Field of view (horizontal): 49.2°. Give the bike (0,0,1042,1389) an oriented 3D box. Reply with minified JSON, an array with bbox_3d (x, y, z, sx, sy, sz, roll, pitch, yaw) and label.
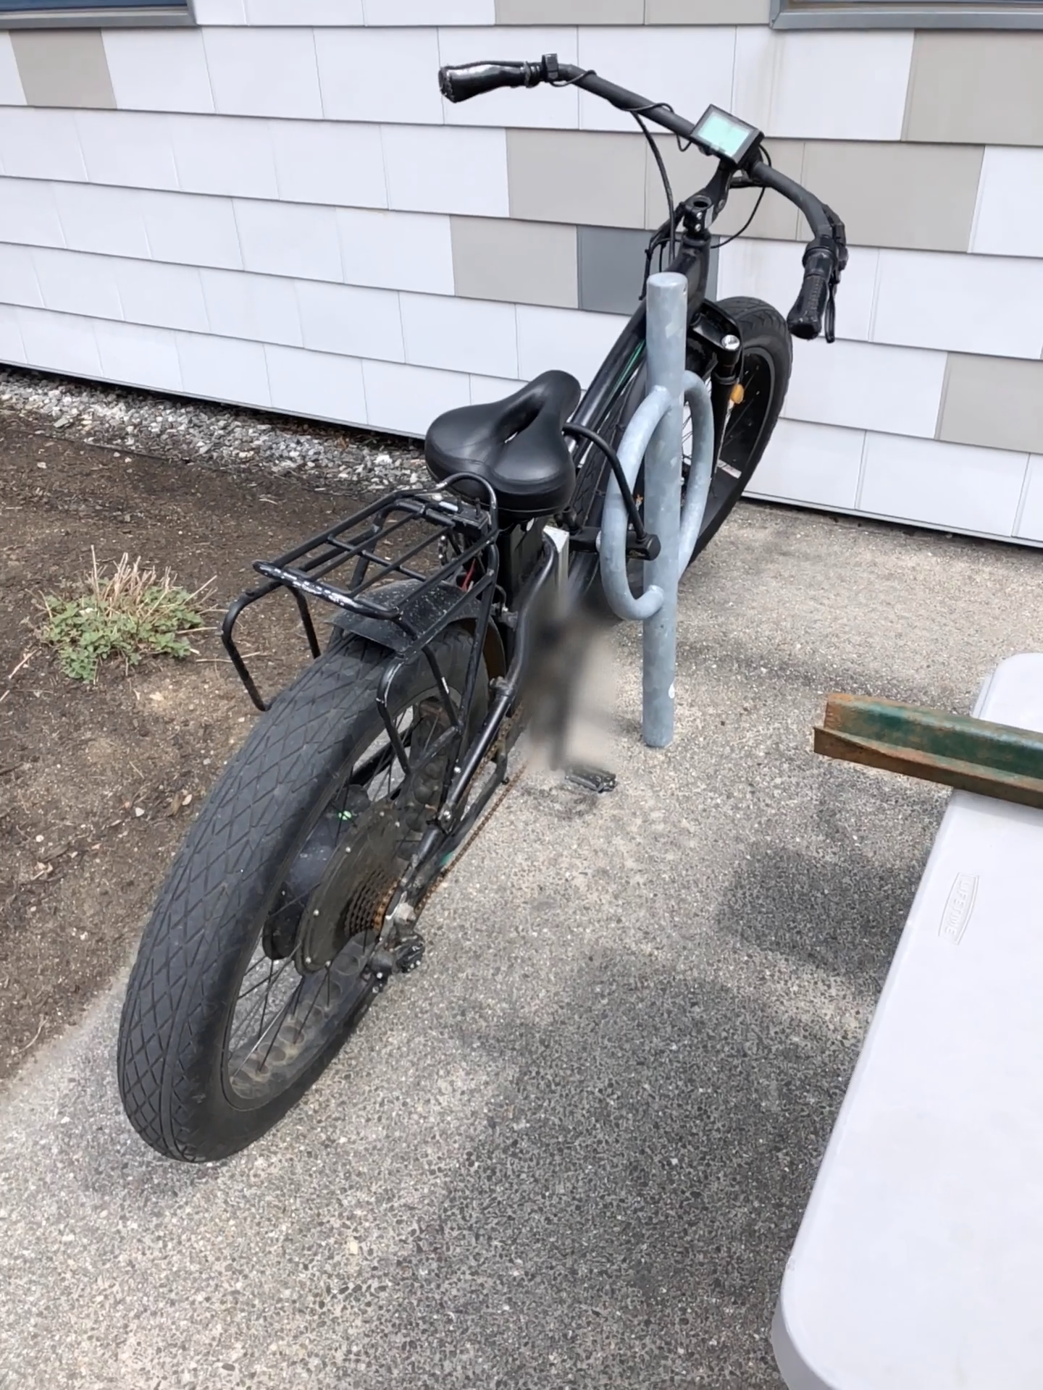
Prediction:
[{"bbox_3d":[0.157,-0.330,1.857,0.877,1.170,2.123,15,42,25],"label":"bike"}]
